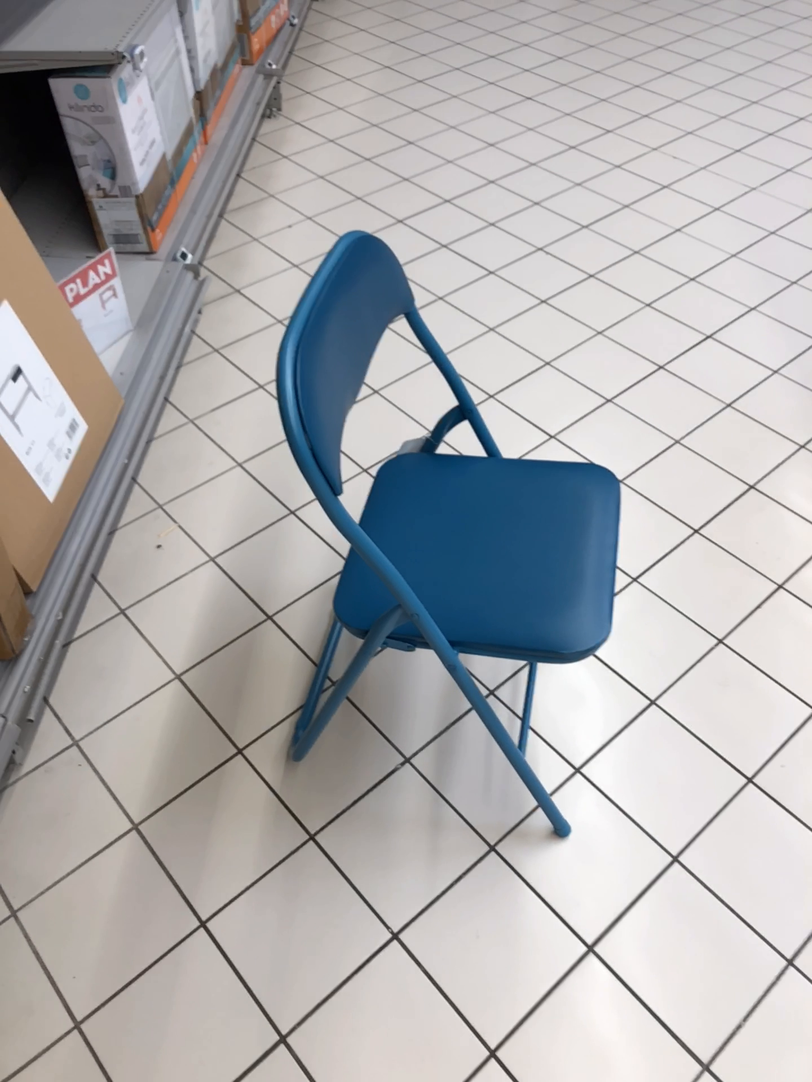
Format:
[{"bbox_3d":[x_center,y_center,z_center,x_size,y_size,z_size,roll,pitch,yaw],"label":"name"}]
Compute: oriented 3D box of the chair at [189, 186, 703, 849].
[{"bbox_3d":[0.083,-0.009,1.305,0.500,0.766,0.503,10,47,9],"label":"chair"}]
